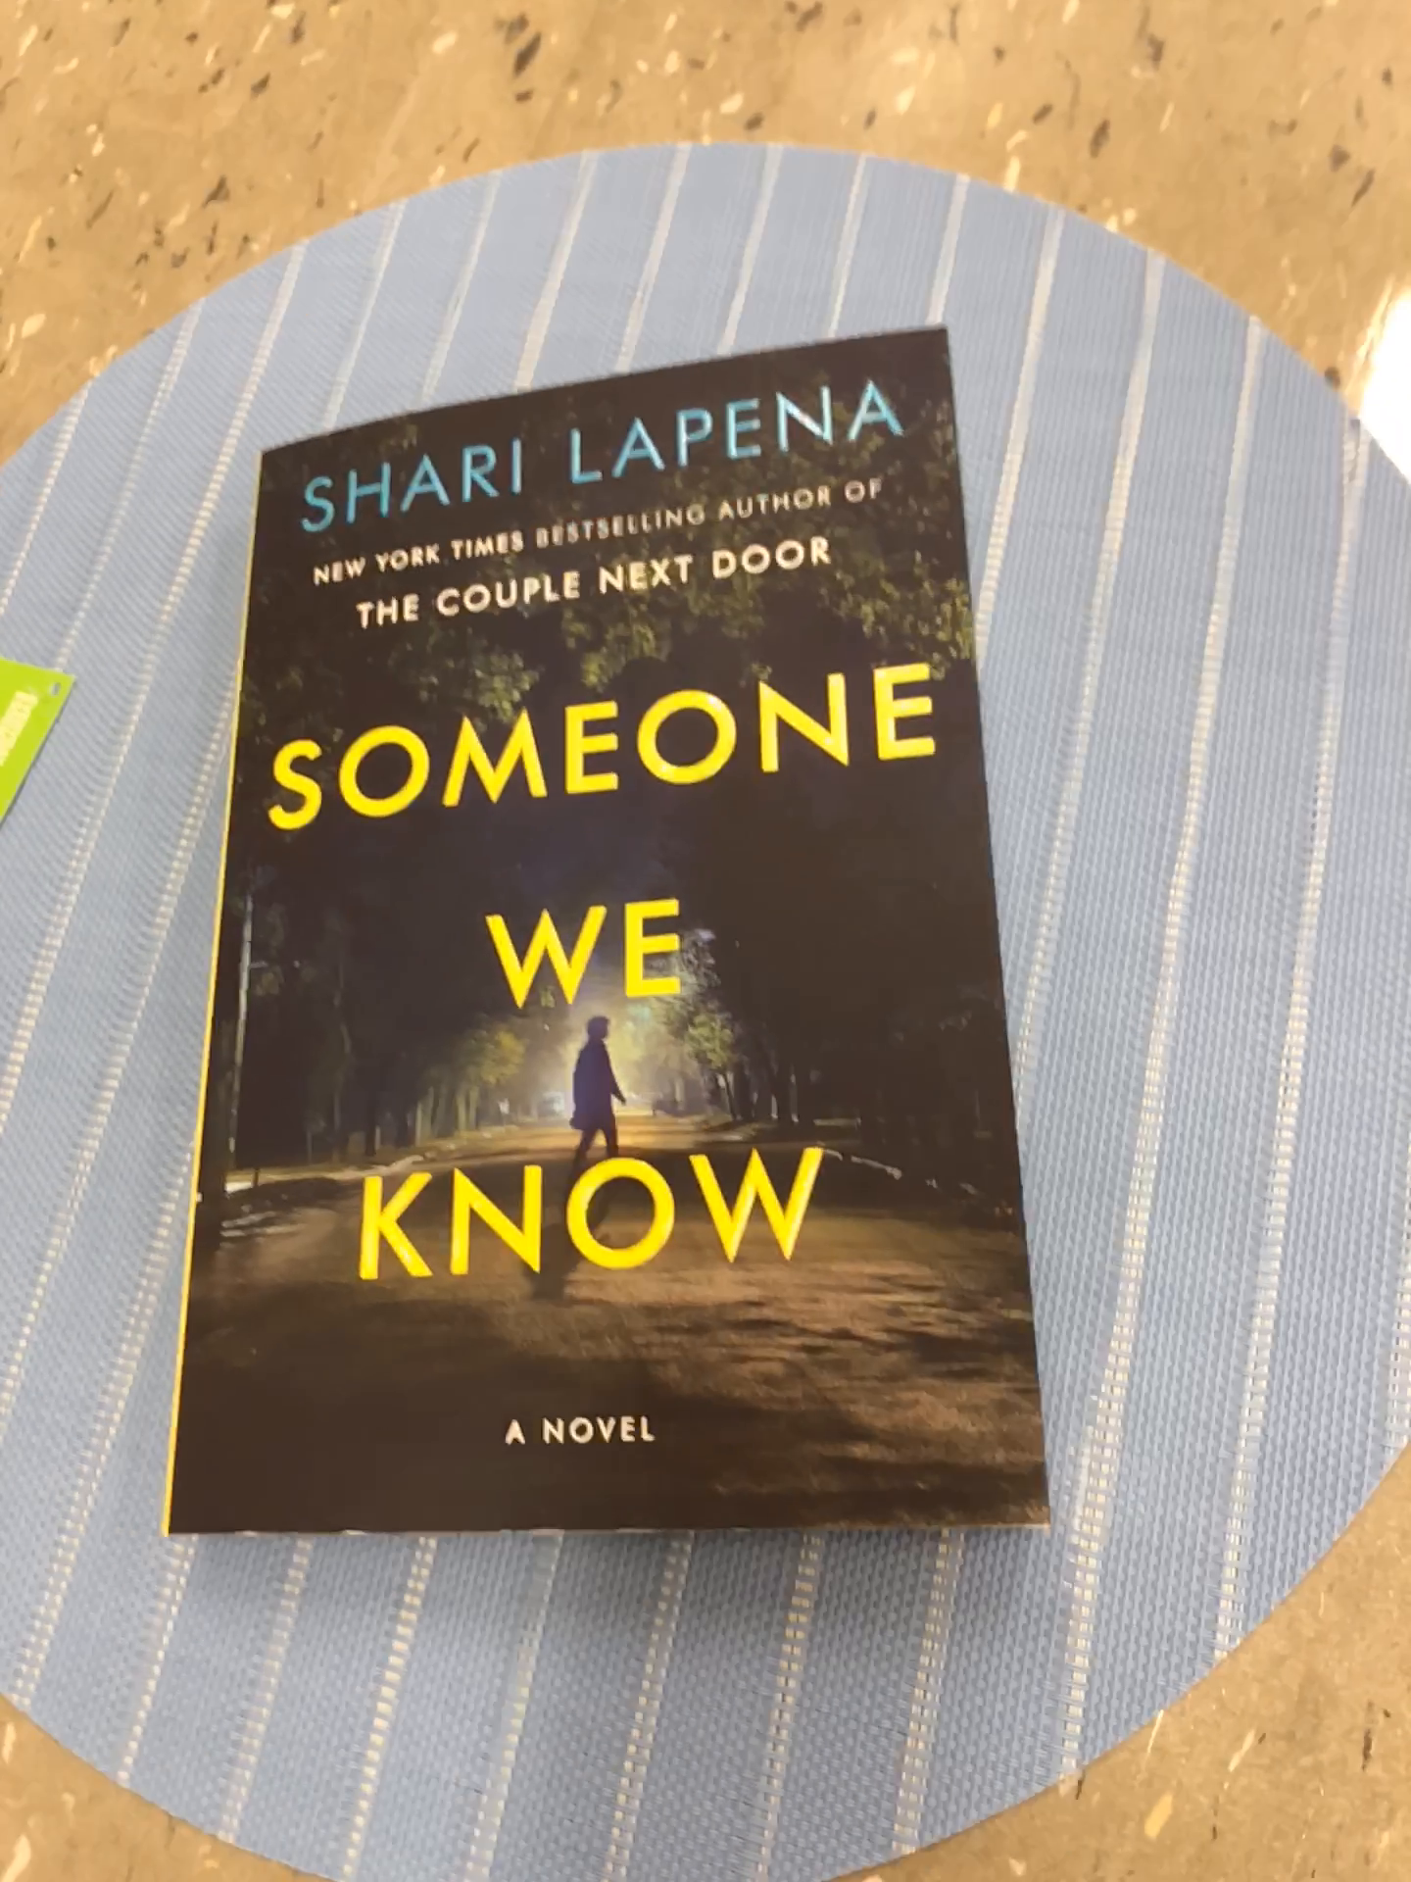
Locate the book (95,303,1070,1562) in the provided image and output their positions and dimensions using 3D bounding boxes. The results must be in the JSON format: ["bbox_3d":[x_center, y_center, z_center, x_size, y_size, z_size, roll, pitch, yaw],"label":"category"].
[{"bbox_3d":[-0.024,-0.004,0.300,0.161,0.030,0.225,-6,71,13],"label":"book"}]
